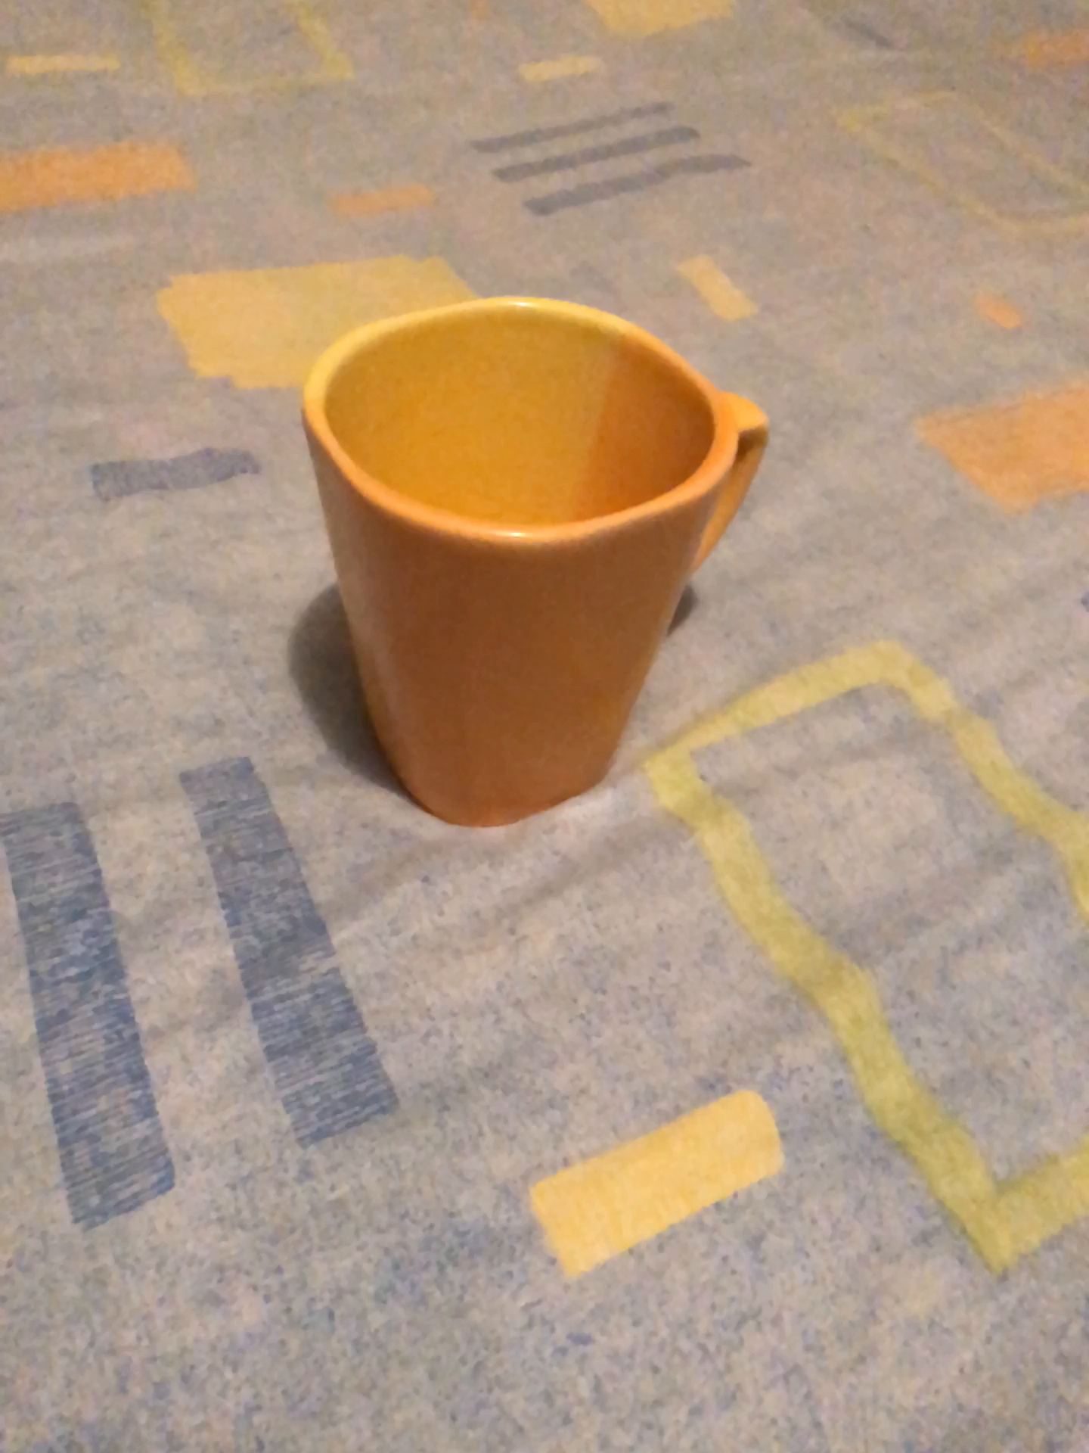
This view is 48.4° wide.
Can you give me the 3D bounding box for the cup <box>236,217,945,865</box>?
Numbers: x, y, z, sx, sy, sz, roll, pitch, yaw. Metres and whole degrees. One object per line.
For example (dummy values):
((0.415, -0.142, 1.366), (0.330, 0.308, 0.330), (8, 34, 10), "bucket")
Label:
((0.005, -0.045, 0.266), (0.111, 0.082, 0.084), (-20, 53, -23), "cup")
